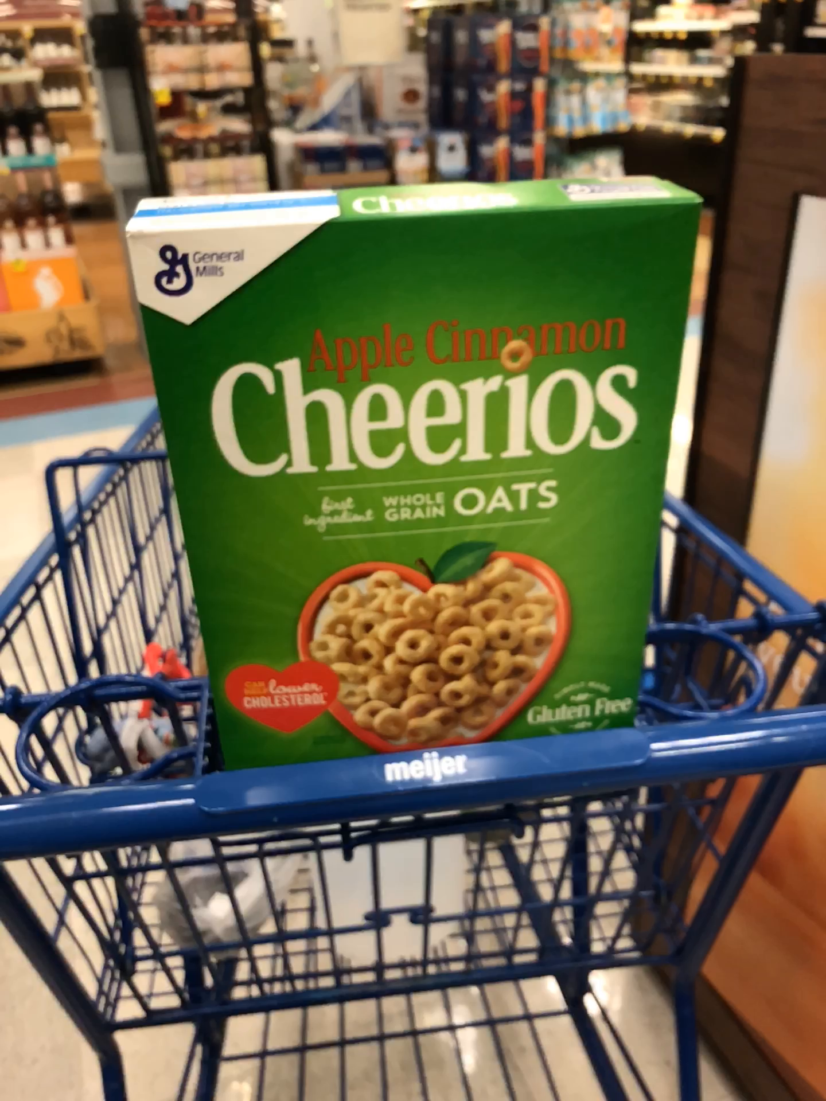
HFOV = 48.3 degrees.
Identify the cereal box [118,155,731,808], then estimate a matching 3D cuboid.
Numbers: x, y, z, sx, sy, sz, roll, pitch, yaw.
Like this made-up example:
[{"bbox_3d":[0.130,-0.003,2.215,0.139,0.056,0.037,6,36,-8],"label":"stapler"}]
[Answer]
[{"bbox_3d":[0.007,-0.018,0.401,0.210,0.269,0.050,-6,31,-7],"label":"cereal box"}]
